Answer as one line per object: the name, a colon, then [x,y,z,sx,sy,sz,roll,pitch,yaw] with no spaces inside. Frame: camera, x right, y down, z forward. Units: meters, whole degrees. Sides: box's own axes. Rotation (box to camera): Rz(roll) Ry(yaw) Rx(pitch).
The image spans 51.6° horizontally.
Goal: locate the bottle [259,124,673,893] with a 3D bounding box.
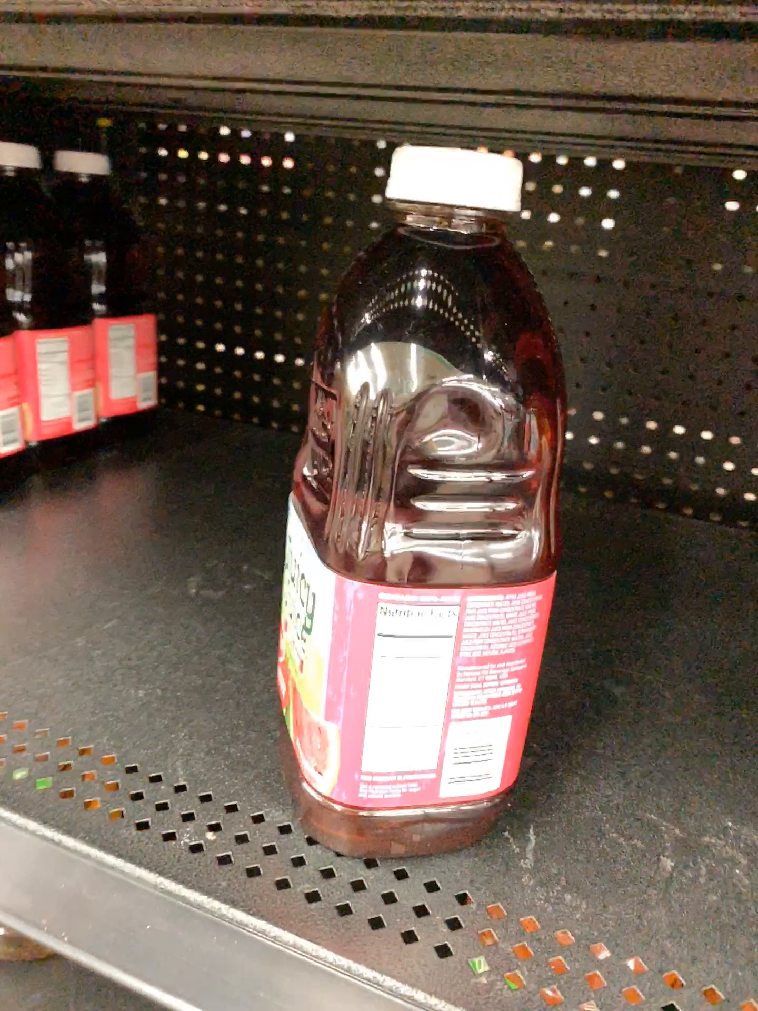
bottle: [0.011,-0.002,0.309,0.090,0.255,0.126,-2,23,-17]
